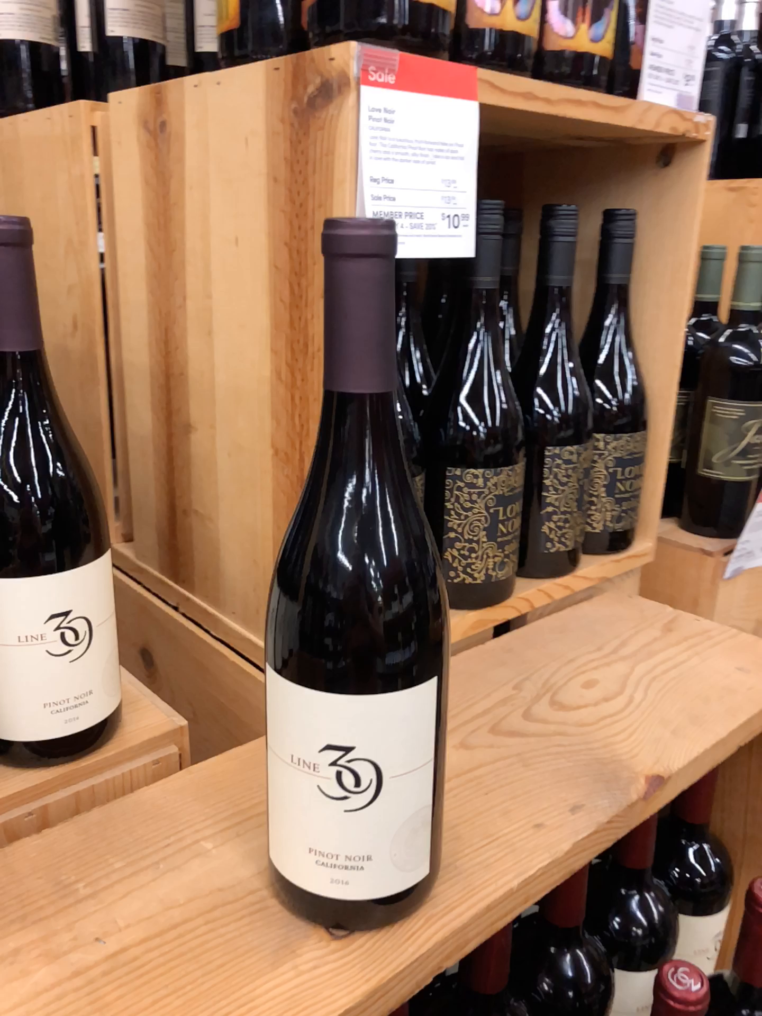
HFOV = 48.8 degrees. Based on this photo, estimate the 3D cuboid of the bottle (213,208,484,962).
[{"bbox_3d":[-0.010,0.031,0.339,0.080,0.283,0.080,1,17,0],"label":"bottle"}]
